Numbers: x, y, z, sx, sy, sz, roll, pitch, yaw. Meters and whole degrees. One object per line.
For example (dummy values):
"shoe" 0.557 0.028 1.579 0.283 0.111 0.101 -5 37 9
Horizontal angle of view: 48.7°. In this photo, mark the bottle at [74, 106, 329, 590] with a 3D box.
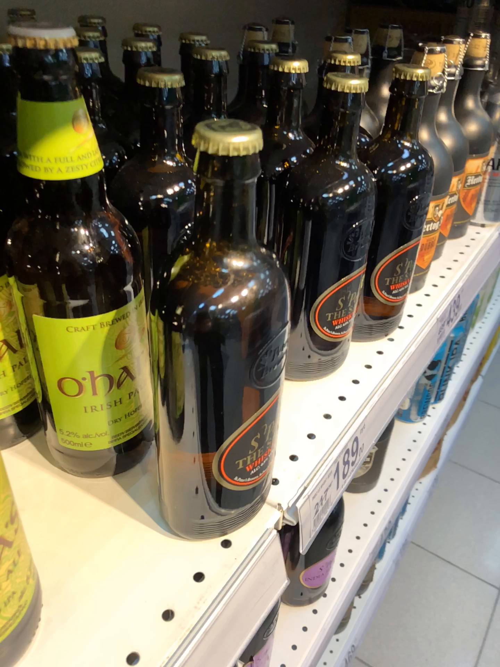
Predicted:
"bottle" -0.021 0.015 0.285 0.060 0.229 0.090 22 38 25
